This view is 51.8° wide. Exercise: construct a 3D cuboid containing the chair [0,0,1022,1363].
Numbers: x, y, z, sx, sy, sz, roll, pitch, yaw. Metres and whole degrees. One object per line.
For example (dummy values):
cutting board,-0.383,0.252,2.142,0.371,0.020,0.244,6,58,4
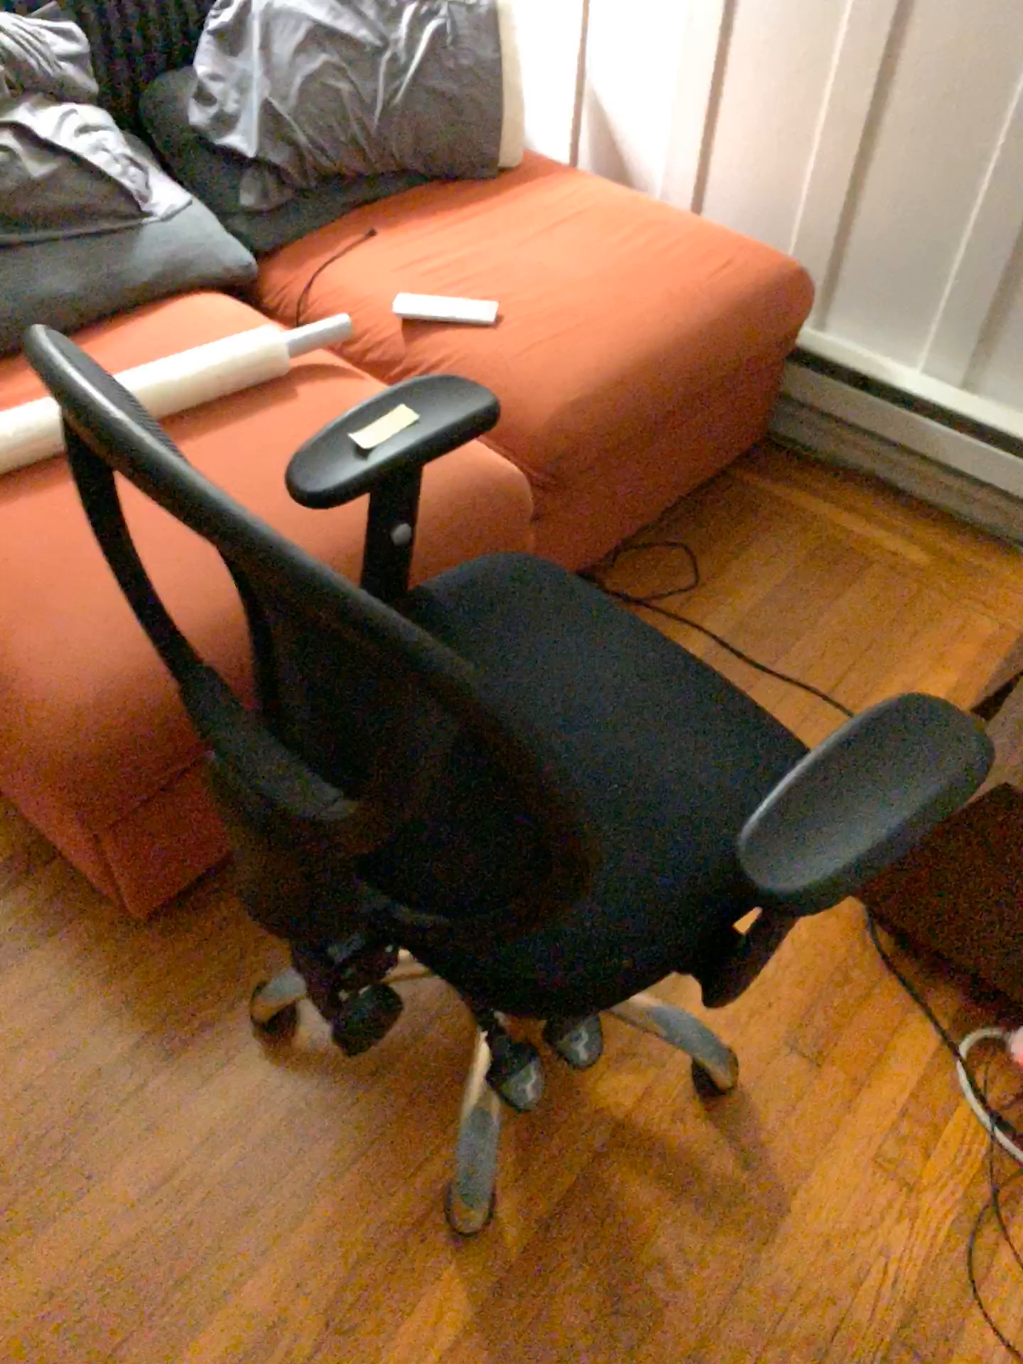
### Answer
chair,-0.053,0.048,0.994,0.661,0.975,0.643,-30,55,-23
